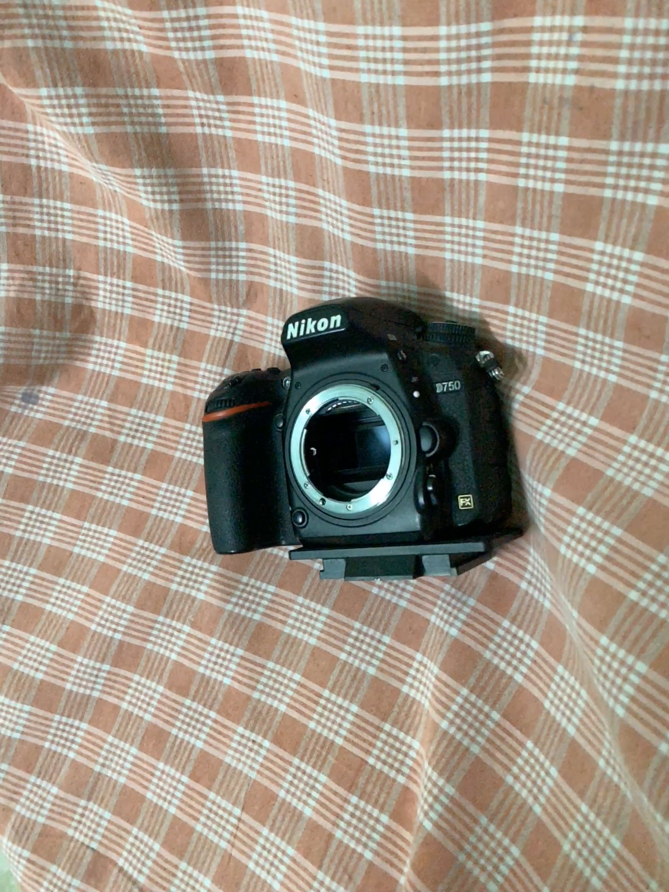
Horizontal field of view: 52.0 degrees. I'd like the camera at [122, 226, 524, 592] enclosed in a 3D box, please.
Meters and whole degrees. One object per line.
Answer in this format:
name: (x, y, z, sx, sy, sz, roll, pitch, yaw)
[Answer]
camera: (-0.005, -0.007, 0.310, 0.145, 0.085, 0.125, -8, 87, 28)
